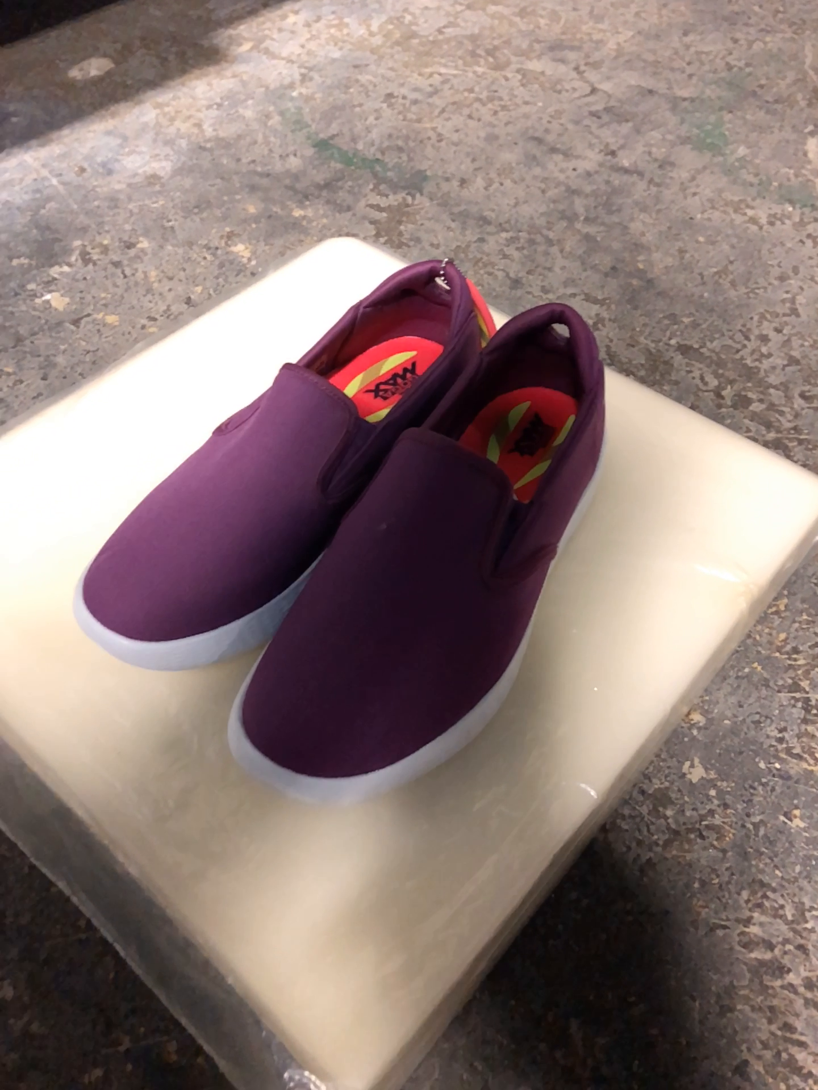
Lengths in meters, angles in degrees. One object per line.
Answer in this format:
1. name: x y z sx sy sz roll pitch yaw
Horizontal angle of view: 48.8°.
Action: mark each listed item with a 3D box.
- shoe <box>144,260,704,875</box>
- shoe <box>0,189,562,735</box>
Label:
1. shoe: 0.020 -0.007 0.377 0.100 0.089 0.241 26 55 20
2. shoe: -0.044 -0.054 0.421 0.100 0.089 0.261 30 56 23
